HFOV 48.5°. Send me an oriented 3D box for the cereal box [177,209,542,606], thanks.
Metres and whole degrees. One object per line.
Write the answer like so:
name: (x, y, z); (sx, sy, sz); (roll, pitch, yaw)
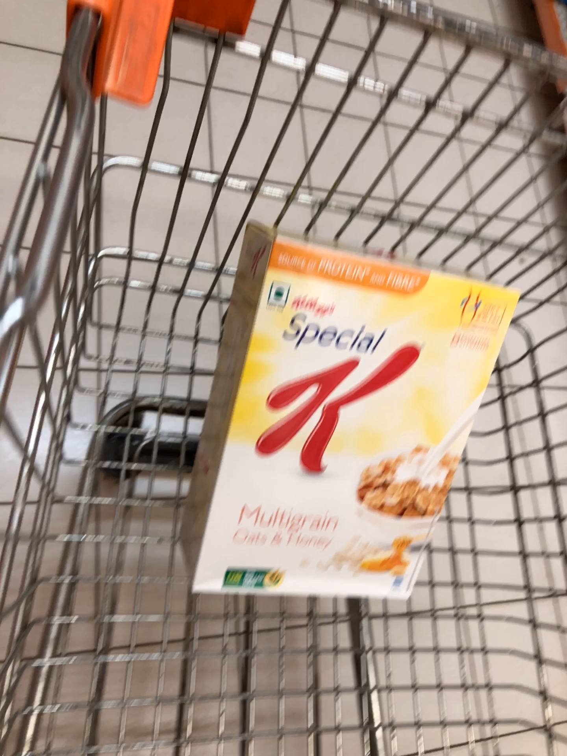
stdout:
cereal box: (0.044, 0.033, 0.482); (0.190, 0.090, 0.269); (8, 110, -20)
